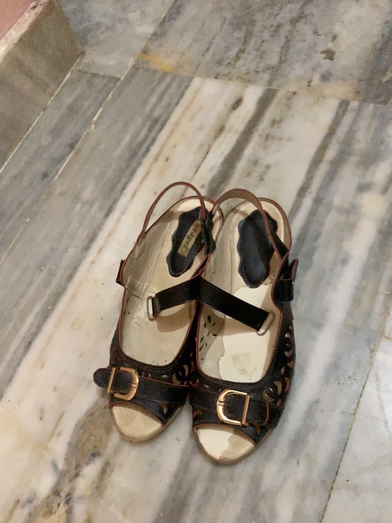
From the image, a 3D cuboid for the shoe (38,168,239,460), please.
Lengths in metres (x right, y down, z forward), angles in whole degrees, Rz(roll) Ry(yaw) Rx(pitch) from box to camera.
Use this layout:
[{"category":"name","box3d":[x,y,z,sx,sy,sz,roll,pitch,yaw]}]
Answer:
[{"category":"shoe","box3d":[-0.039,0.045,0.406,0.100,0.100,0.259,7,67,18]}]

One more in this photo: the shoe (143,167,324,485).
[{"category":"shoe","box3d":[0.050,0.050,0.381,0.100,0.100,0.259,7,67,18]}]
